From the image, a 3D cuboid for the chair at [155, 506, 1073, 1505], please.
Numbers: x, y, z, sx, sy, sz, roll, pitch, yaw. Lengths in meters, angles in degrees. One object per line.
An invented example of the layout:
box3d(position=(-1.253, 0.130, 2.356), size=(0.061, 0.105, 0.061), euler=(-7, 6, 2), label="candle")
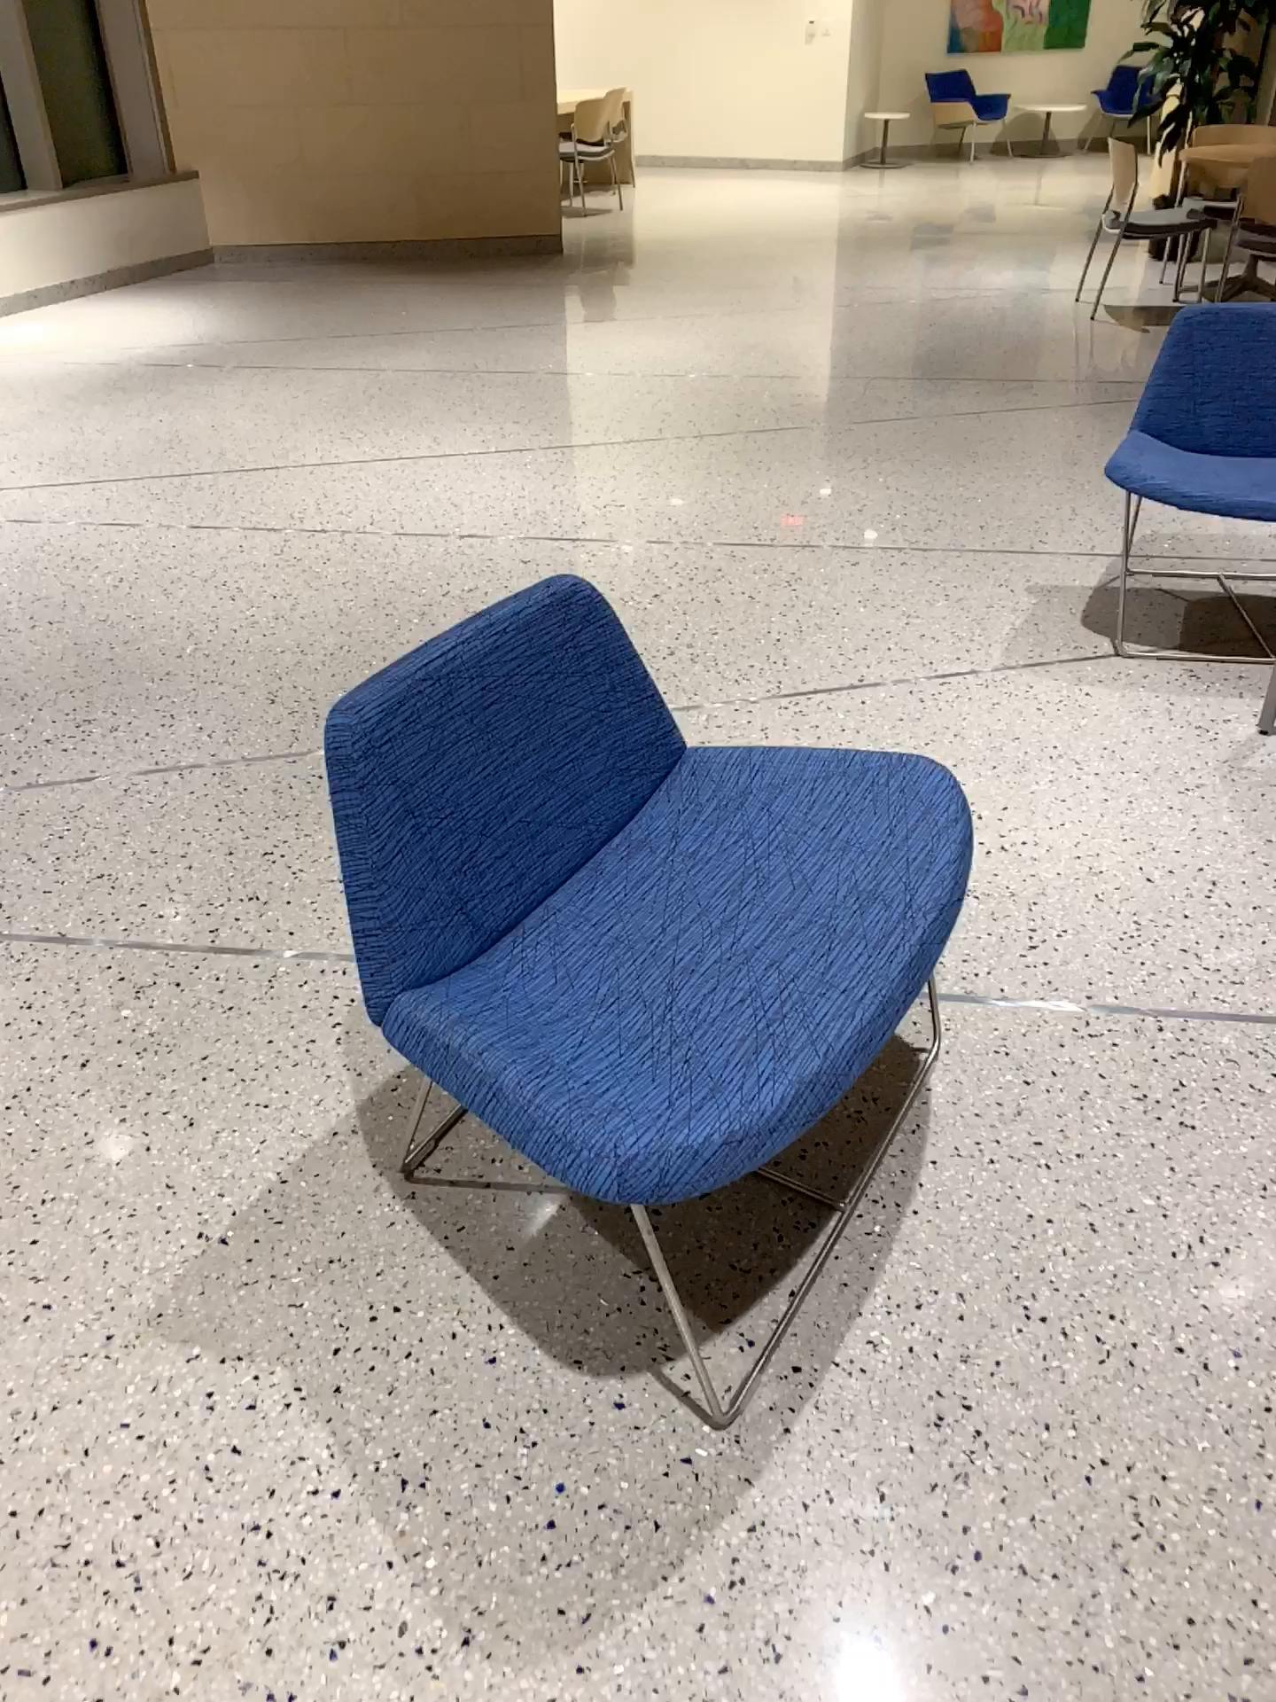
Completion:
box3d(position=(0.049, 0.082, 1.670), size=(0.662, 0.698, 0.947), euler=(16, 36, 25), label="chair")
